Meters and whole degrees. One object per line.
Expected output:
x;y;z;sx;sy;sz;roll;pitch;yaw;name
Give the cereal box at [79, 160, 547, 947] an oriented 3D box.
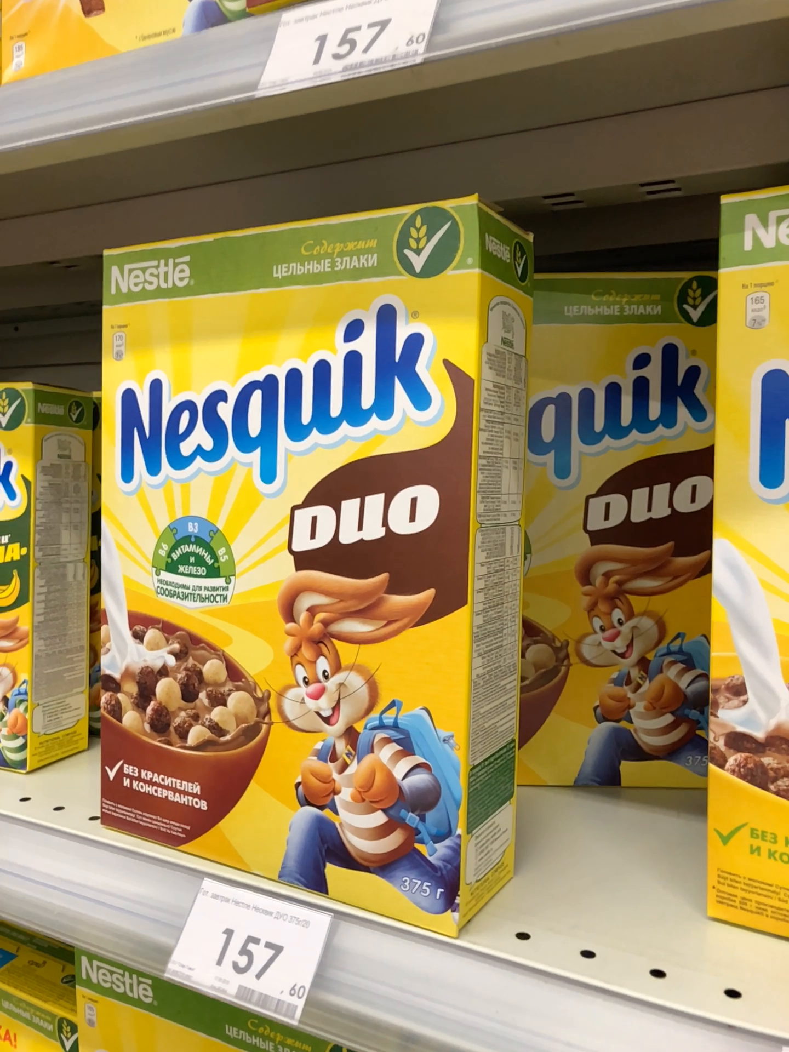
-0.044;0.005;0.384;0.200;0.280;0.060;4;3;30;cereal box
